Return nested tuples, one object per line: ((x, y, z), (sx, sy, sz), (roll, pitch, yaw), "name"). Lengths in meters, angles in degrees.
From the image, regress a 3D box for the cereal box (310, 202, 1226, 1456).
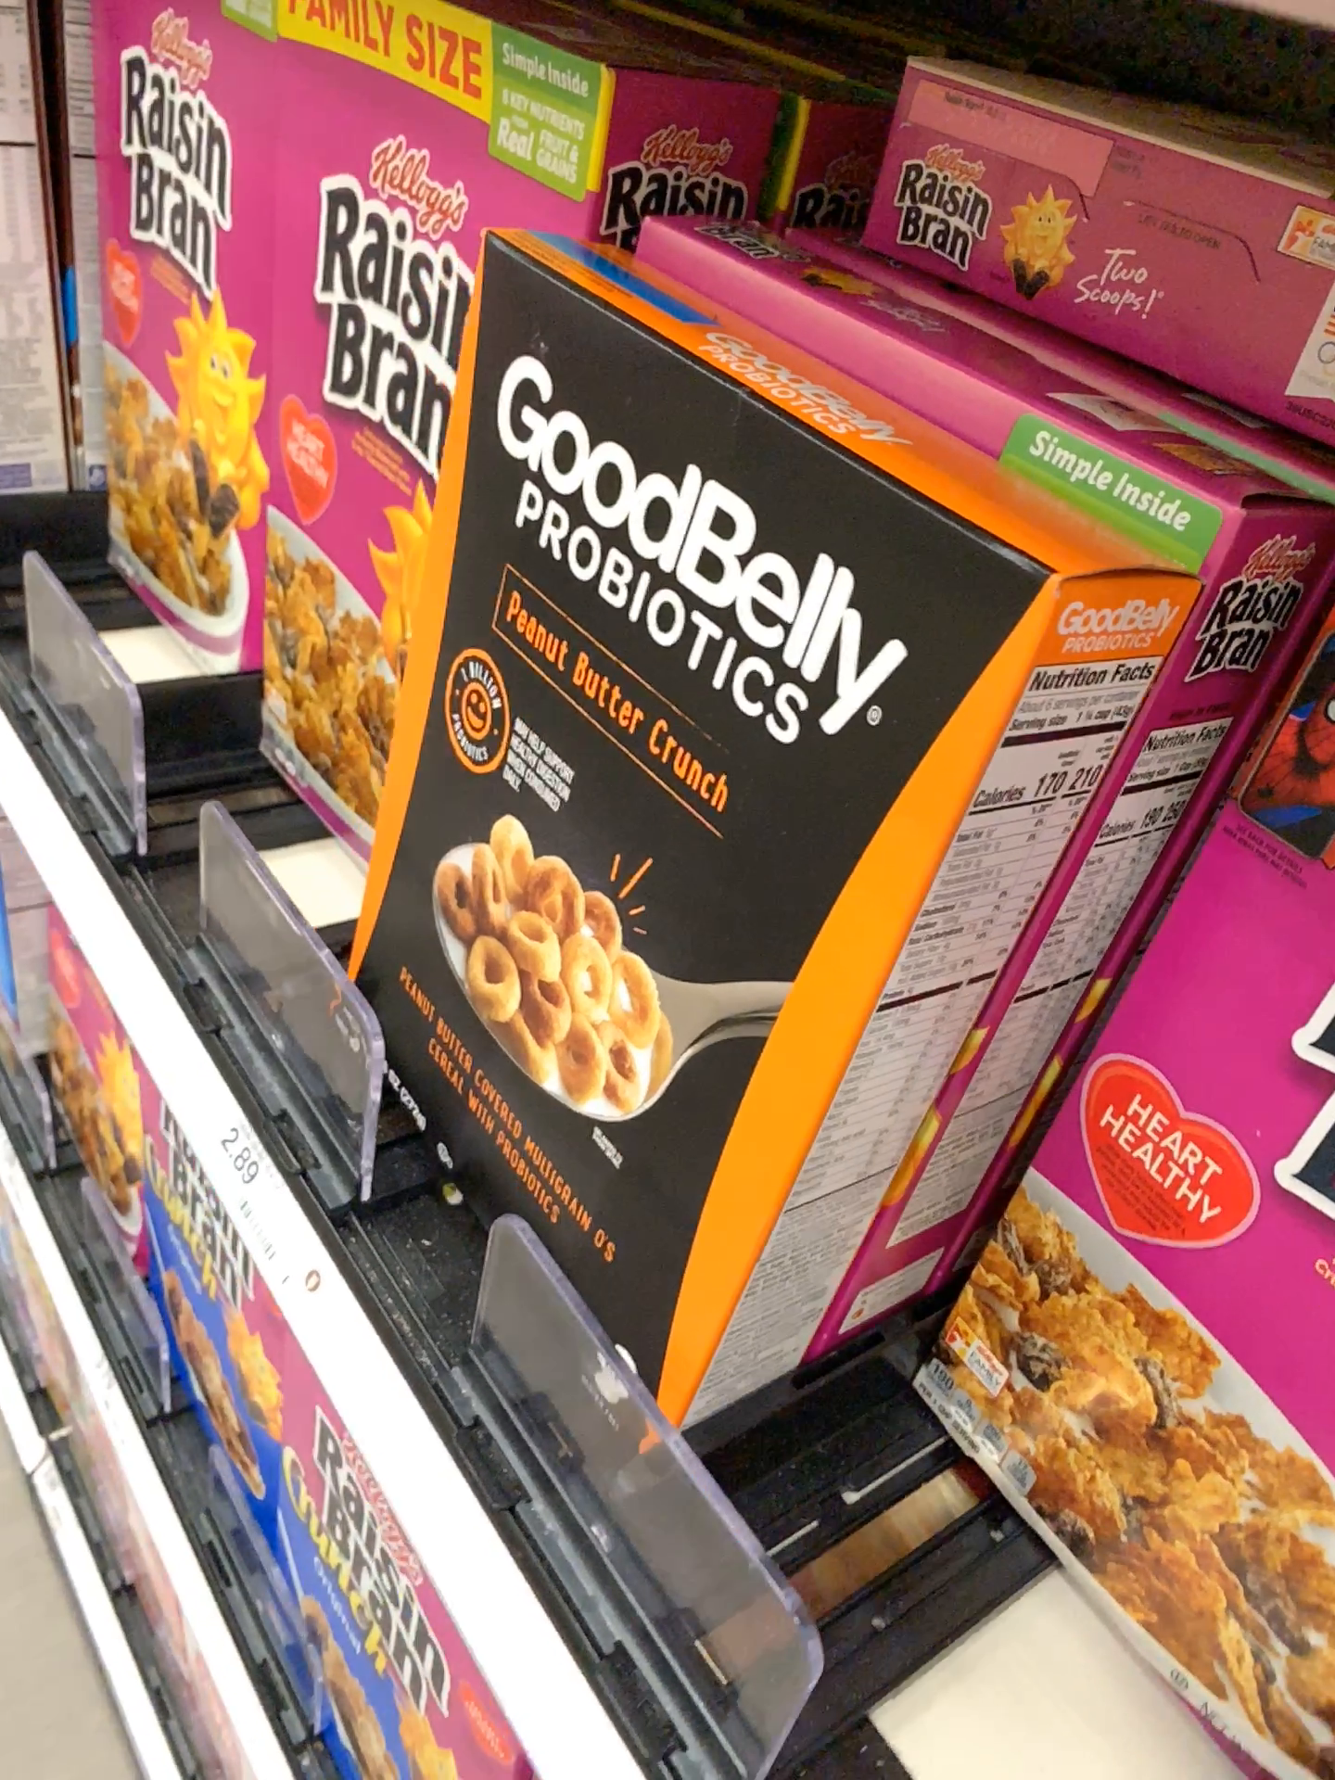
((-0.008, -0.017, 0.365), (0.050, 0.249, 0.201), (-10, 41, -40), "cereal box")
